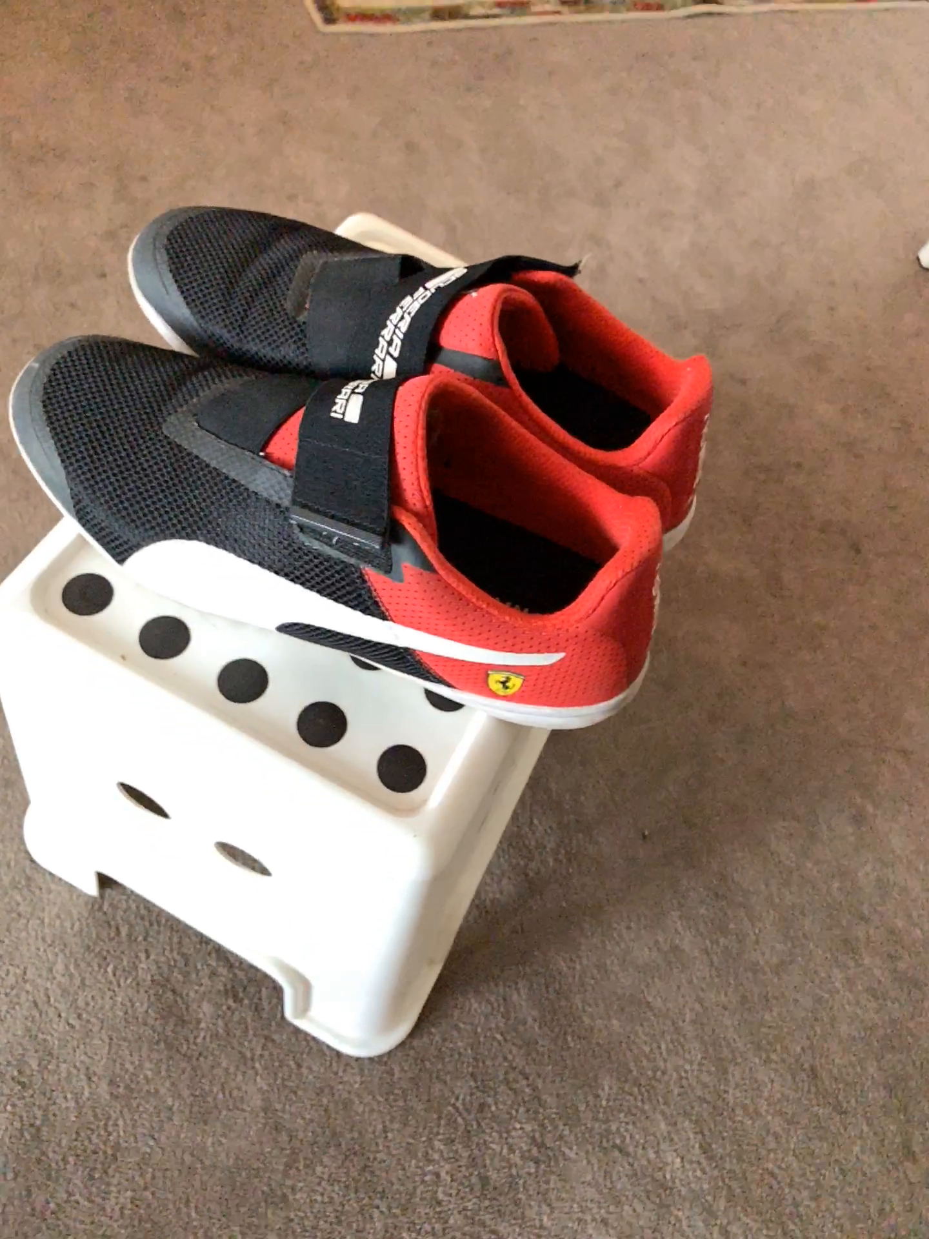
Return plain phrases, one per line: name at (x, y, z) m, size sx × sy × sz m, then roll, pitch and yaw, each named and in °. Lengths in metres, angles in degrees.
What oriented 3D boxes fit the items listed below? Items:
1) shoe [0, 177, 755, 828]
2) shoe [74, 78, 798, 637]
shoe at (-0.053, -0.047, 0.396) m, size 0.300 × 0.099 × 0.111 m, roll 27°, pitch 60°, yaw 4°
shoe at (-0.015, -0.122, 0.453) m, size 0.300 × 0.099 × 0.101 m, roll 27°, pitch 60°, yaw 4°
